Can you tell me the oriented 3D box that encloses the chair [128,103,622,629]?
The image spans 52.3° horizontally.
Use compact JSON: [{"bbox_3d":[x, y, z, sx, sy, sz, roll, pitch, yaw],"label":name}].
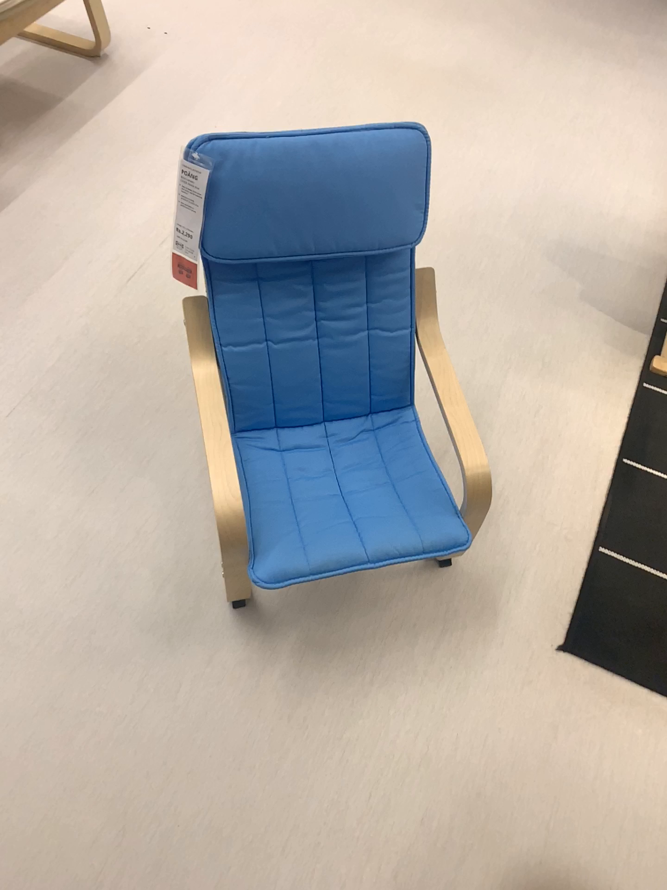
[{"bbox_3d":[0.003,-0.094,1.117,0.510,0.639,0.501,-9,58,-9],"label":"chair"}]
